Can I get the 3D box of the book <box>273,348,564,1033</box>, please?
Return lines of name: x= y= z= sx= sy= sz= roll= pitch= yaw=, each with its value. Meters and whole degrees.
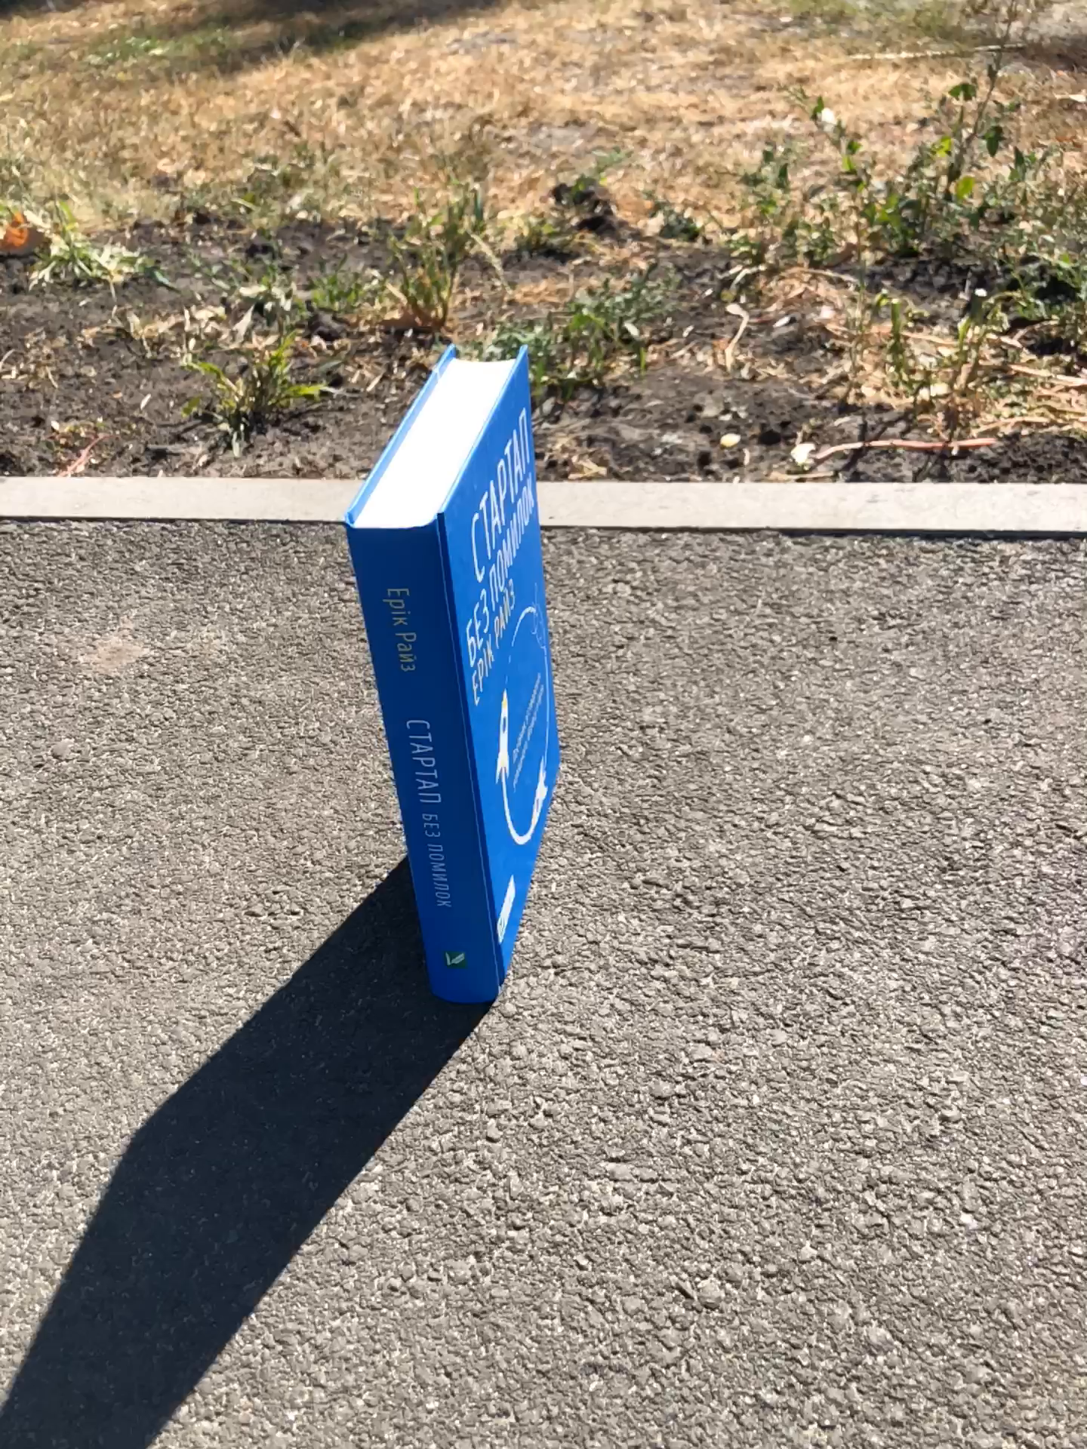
book: x=-0.033 y=-0.013 z=0.452 sx=0.038 sy=0.204 sz=0.155 roll=1 pitch=38 yaw=12
